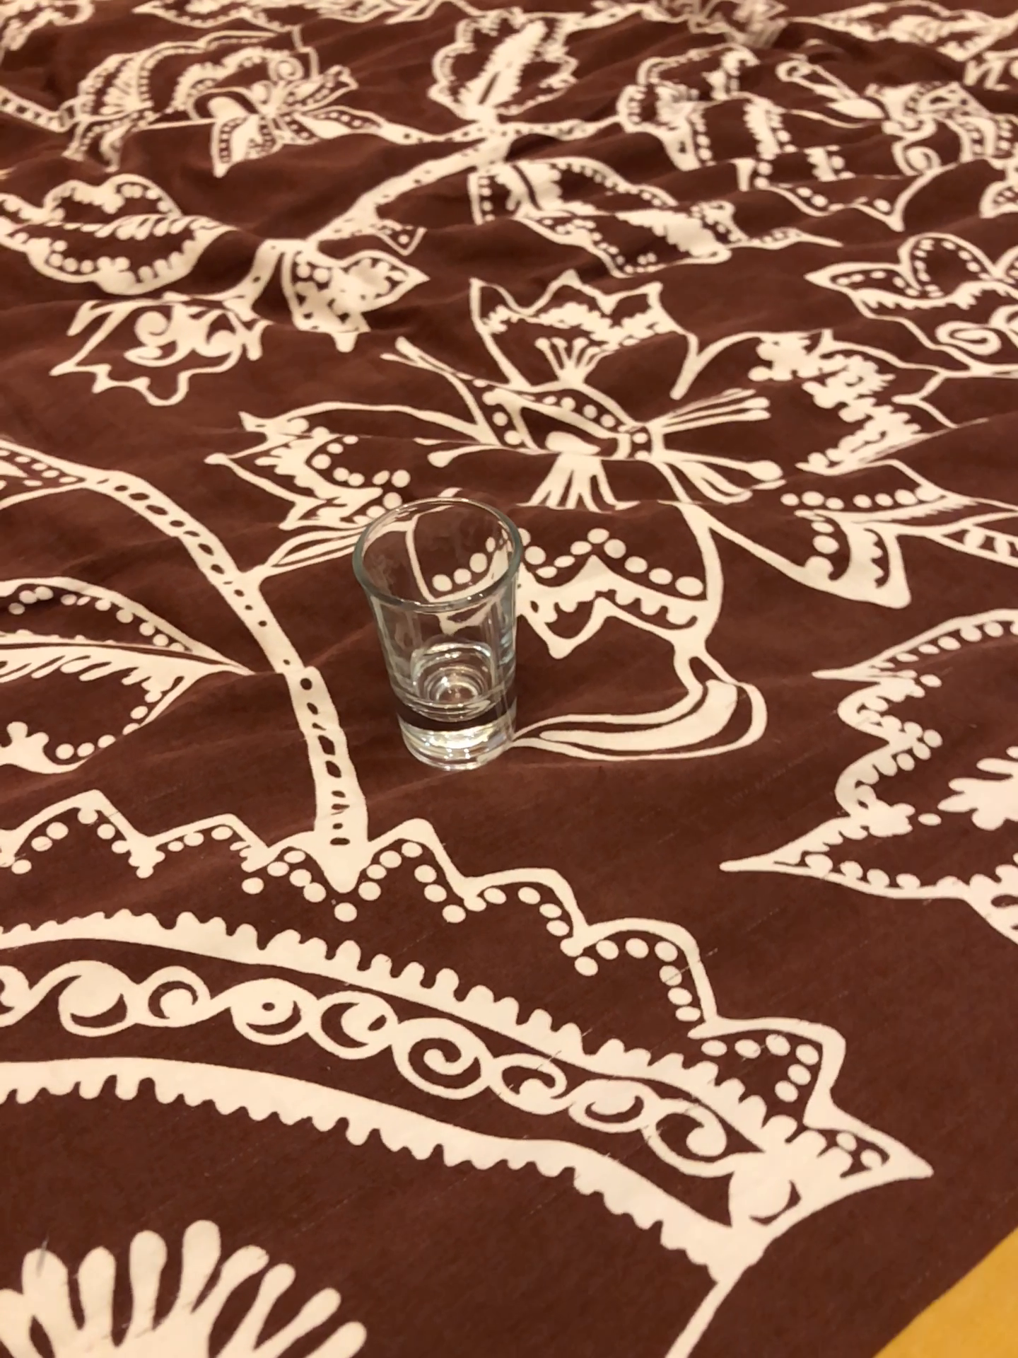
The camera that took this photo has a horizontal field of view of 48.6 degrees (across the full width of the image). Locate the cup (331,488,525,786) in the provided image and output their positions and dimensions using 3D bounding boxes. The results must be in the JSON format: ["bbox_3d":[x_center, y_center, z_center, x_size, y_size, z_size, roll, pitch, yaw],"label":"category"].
[{"bbox_3d":[-0.020,-0.010,0.306,0.045,0.070,0.042,-1,49,1],"label":"cup"}]
